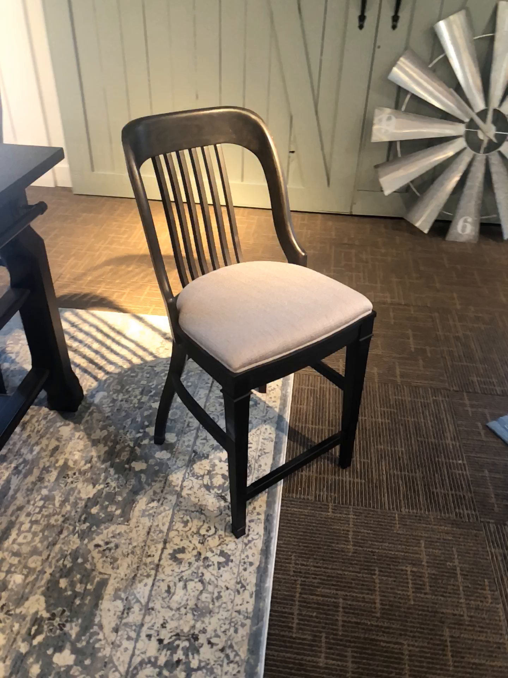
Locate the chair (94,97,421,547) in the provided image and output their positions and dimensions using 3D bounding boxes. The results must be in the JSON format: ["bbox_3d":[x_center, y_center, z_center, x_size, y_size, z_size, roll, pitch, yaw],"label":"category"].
[{"bbox_3d":[-0.018,-0.057,1.529,0.481,0.985,0.571,-25,43,-32],"label":"chair"}]
